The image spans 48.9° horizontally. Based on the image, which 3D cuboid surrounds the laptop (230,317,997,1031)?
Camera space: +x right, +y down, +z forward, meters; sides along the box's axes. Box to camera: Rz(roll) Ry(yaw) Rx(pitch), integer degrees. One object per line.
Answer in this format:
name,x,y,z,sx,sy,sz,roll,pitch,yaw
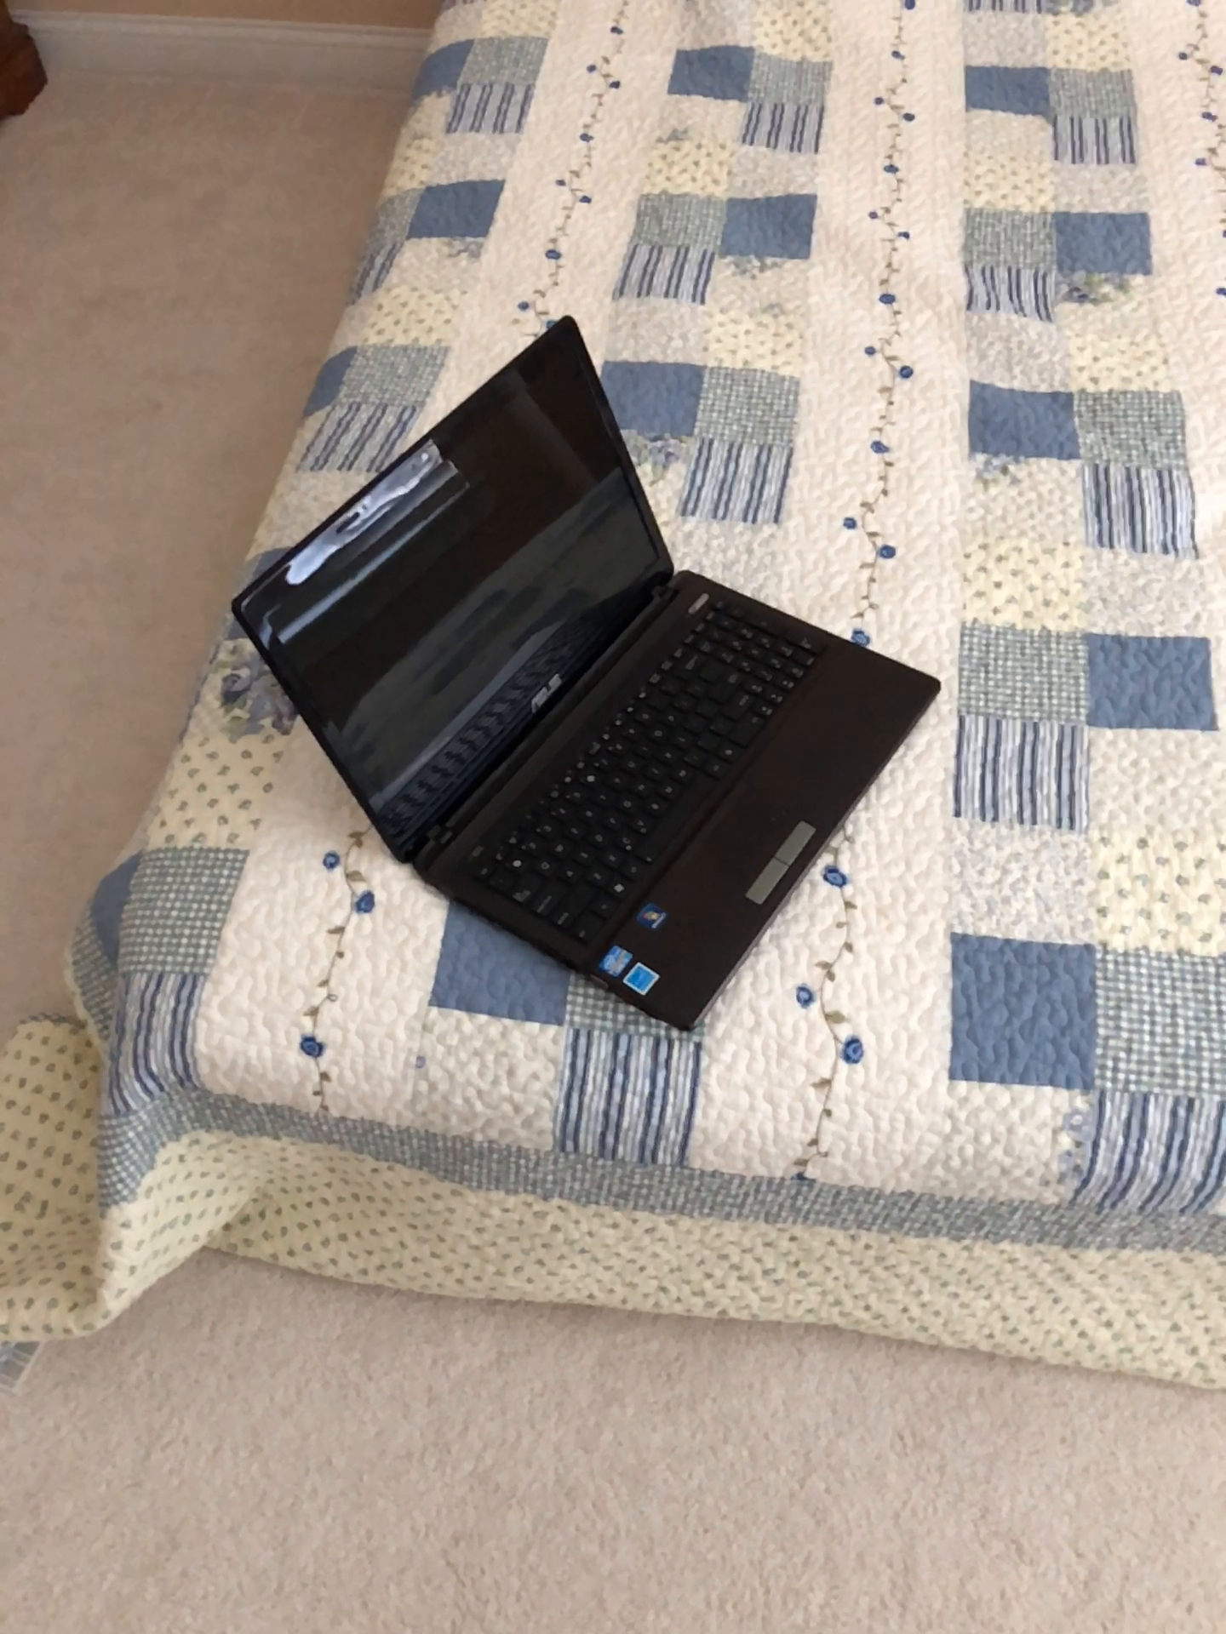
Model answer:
laptop,0.009,-0.117,0.945,0.350,0.193,0.358,29,60,20
